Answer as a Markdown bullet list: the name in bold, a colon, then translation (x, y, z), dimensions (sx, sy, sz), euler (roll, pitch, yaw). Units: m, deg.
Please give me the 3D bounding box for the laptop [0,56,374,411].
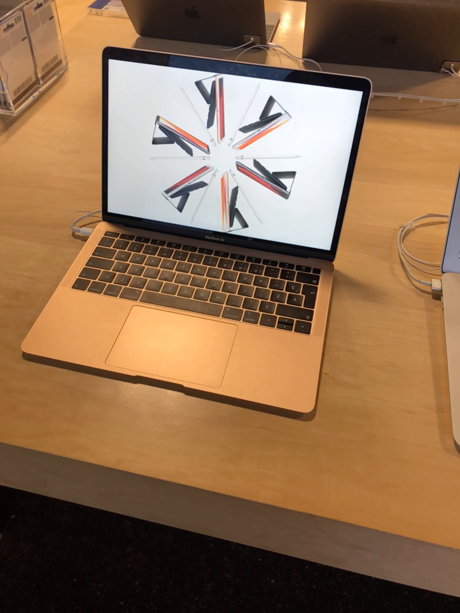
- **laptop**: translation (-0.030, -0.093, 0.519), dimensions (0.291, 0.183, 0.284), euler (11, 48, 9)
